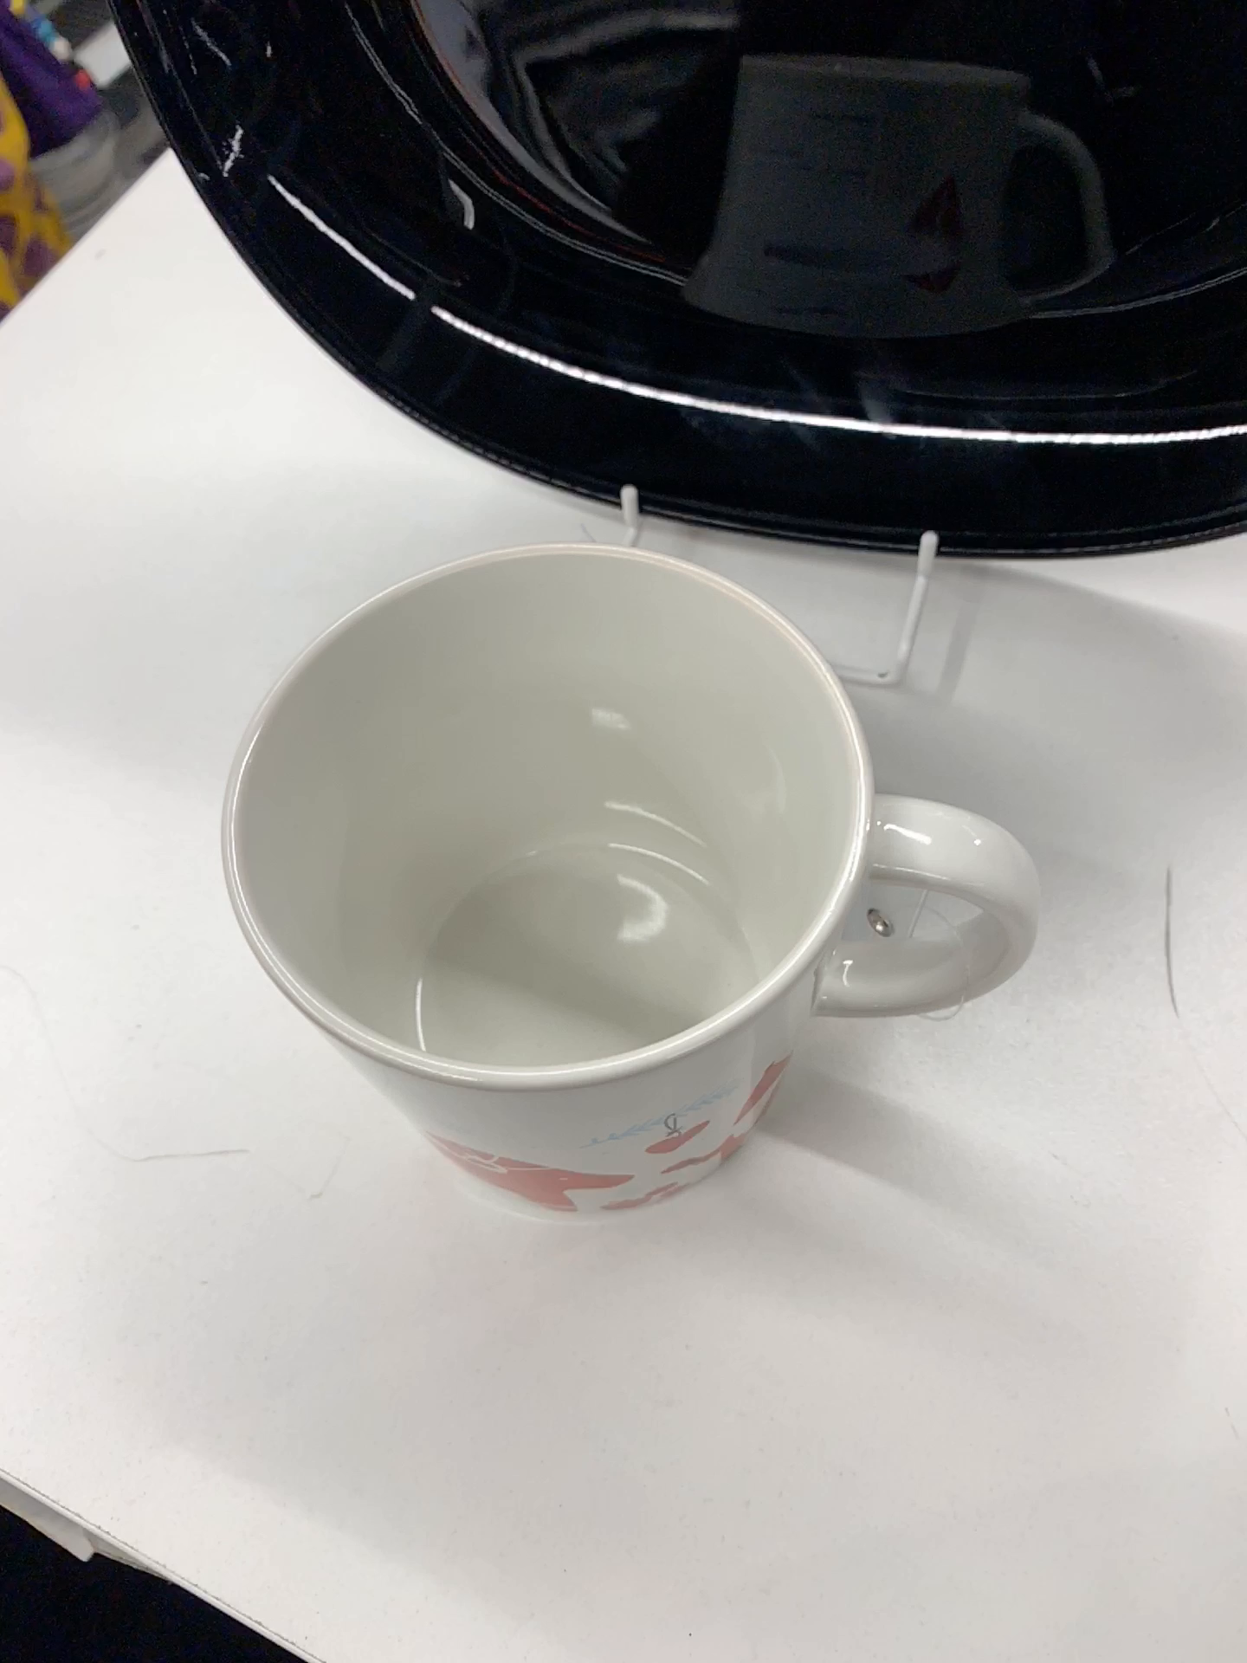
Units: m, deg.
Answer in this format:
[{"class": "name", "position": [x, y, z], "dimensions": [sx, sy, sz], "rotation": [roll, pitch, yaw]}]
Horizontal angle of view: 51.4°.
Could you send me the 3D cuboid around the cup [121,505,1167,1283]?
[{"class": "cup", "position": [0.003, 0.015, 0.210], "dimensions": [0.120, 0.090, 0.090], "rotation": [-2, 59, 2]}]
